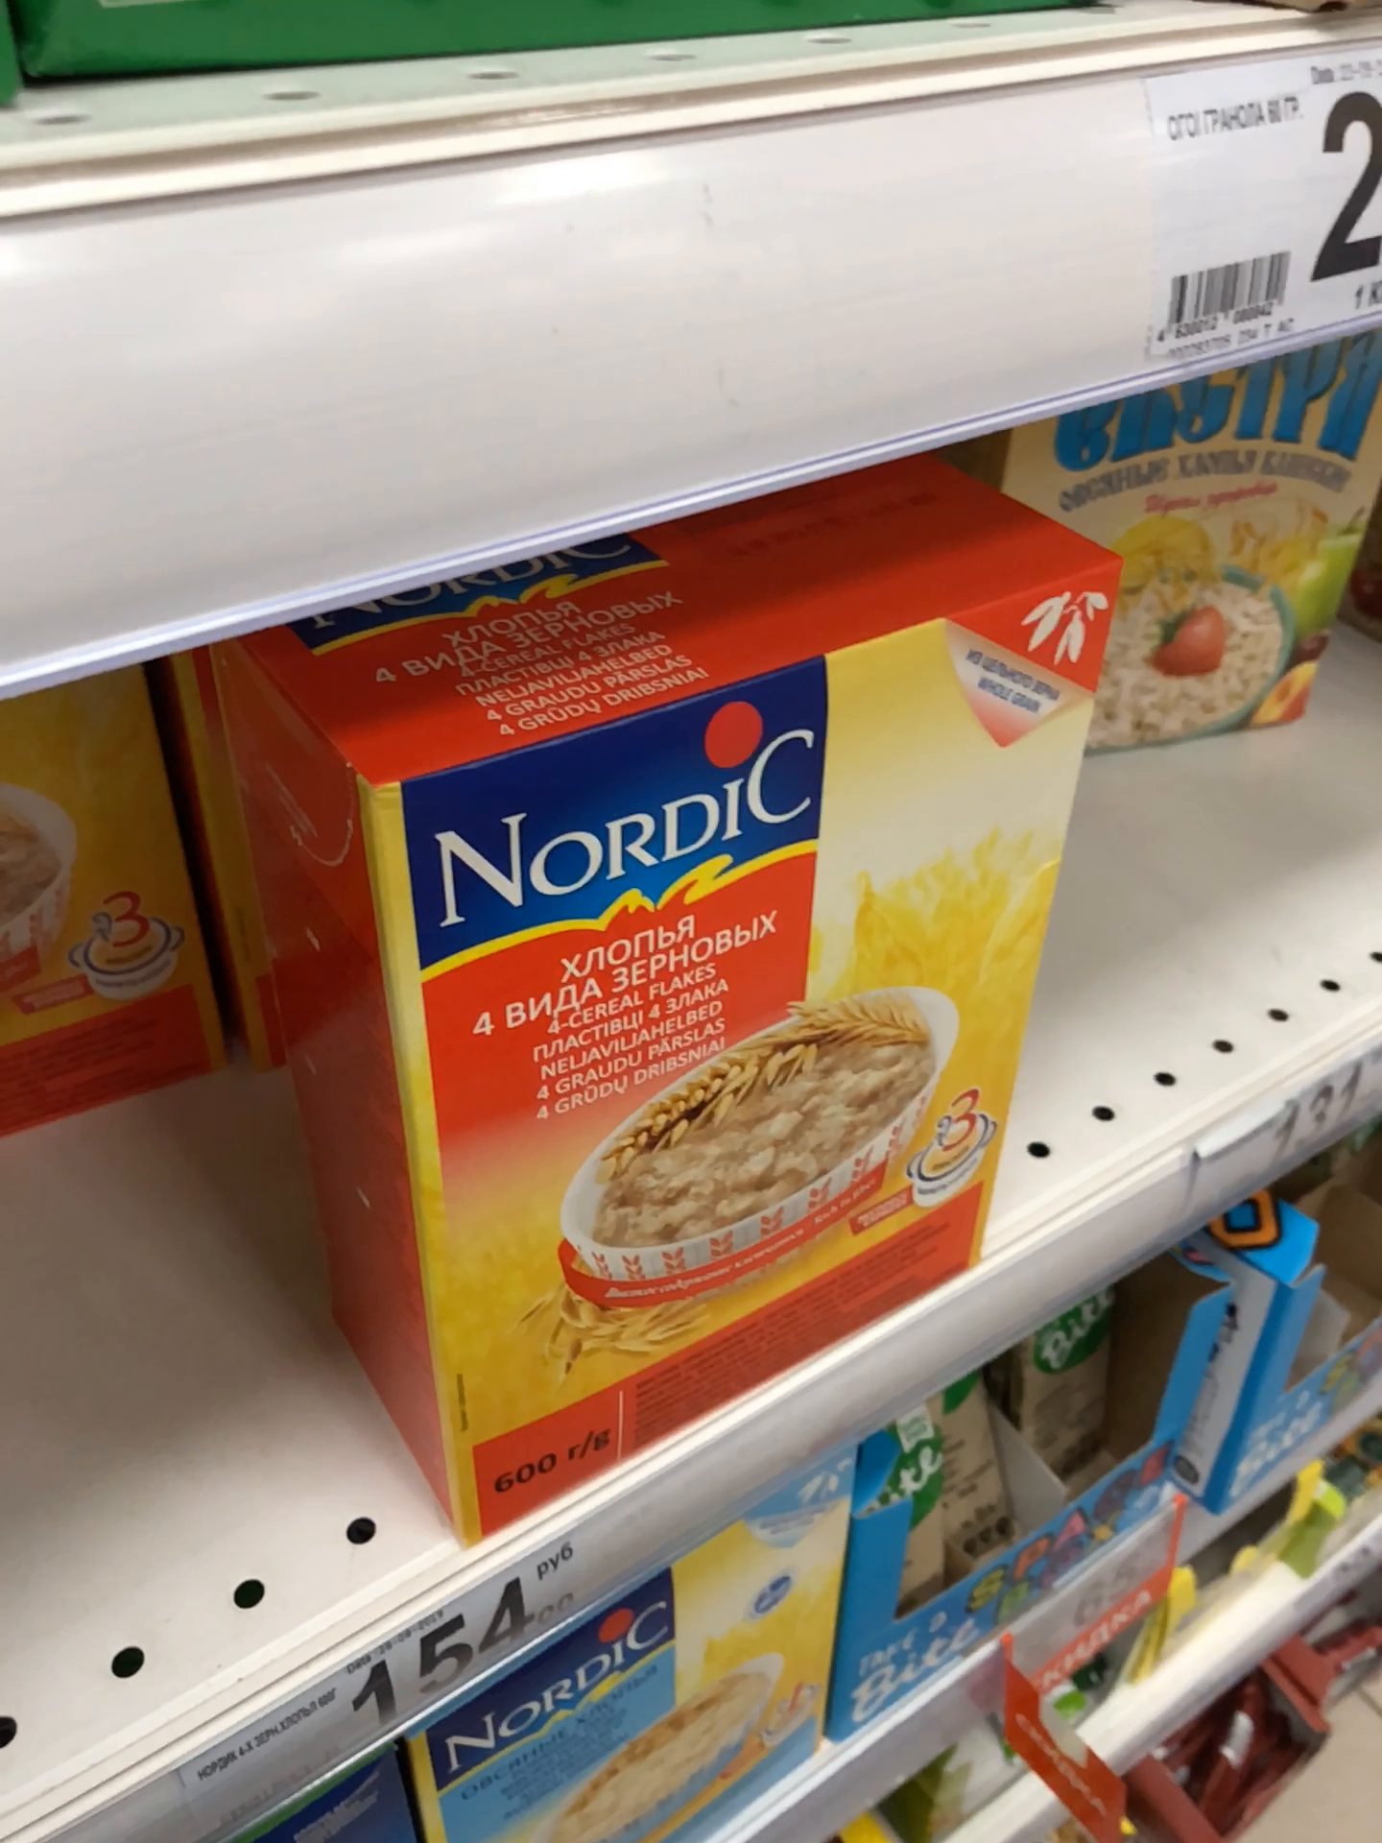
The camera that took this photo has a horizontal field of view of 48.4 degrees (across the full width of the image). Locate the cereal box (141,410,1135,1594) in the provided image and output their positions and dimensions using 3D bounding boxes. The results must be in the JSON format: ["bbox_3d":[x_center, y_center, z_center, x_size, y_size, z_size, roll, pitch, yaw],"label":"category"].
[{"bbox_3d":[-0.008,0.017,0.323,0.150,0.199,0.080,-22,43,-27],"label":"cereal box"}]
